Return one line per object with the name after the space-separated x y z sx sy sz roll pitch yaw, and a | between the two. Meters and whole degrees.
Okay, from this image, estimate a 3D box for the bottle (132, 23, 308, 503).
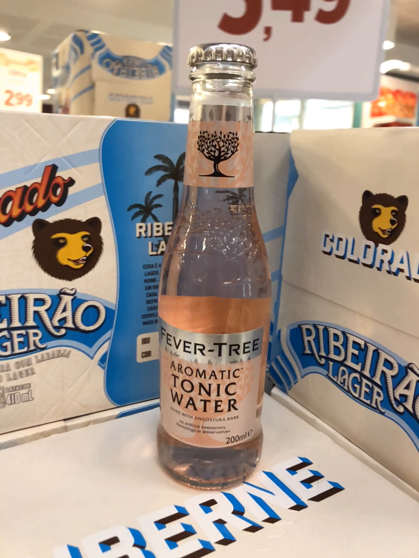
0.004 -0.004 0.210 0.060 0.189 0.050 5 14 10 | bottle
